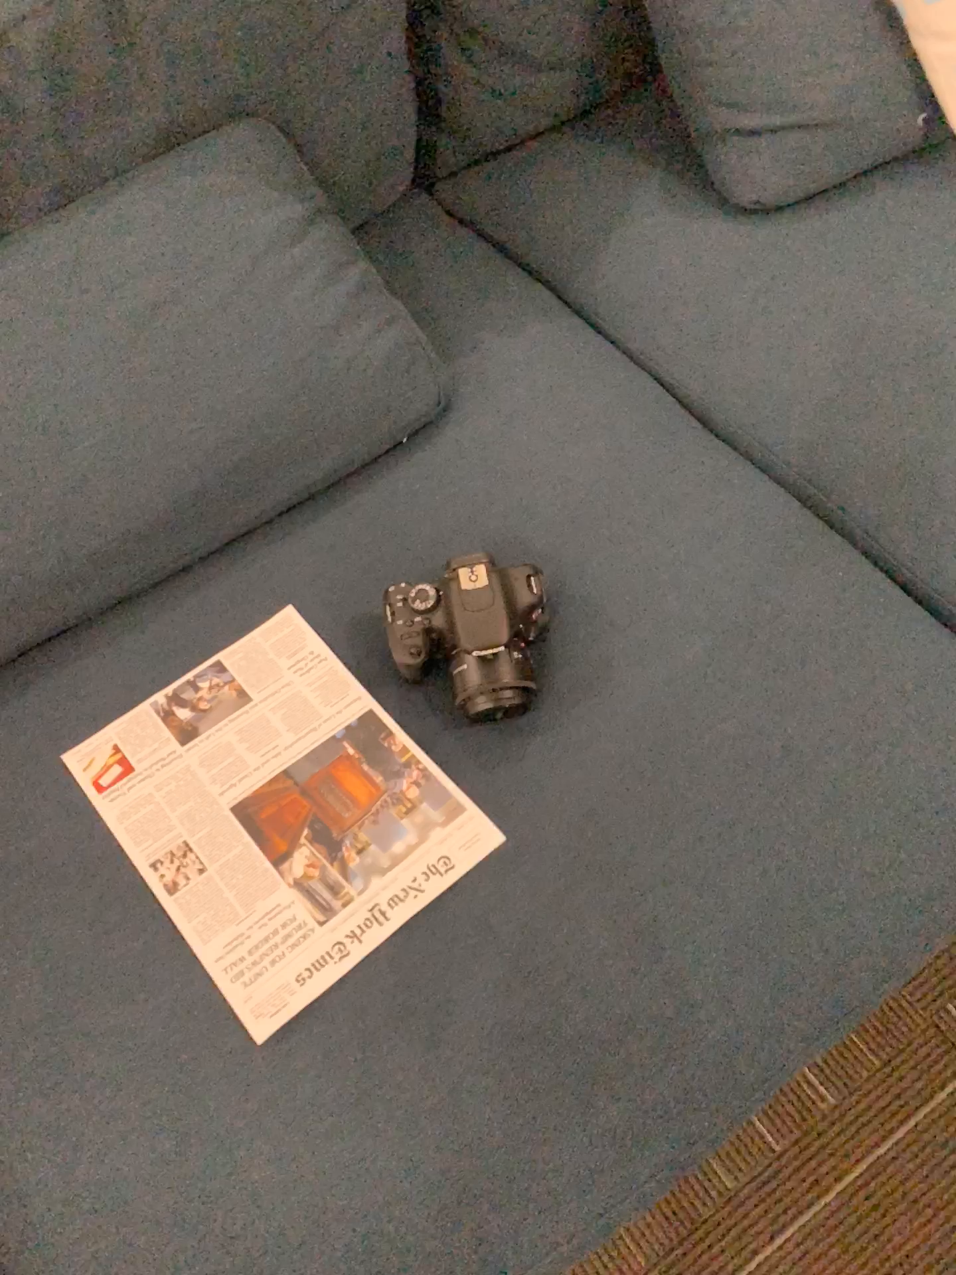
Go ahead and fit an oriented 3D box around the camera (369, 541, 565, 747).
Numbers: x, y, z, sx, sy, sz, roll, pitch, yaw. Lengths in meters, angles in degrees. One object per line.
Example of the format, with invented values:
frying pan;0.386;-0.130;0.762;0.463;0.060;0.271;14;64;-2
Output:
camera;-0.007;0.008;0.726;0.120;0.100;0.109;-11;73;0
